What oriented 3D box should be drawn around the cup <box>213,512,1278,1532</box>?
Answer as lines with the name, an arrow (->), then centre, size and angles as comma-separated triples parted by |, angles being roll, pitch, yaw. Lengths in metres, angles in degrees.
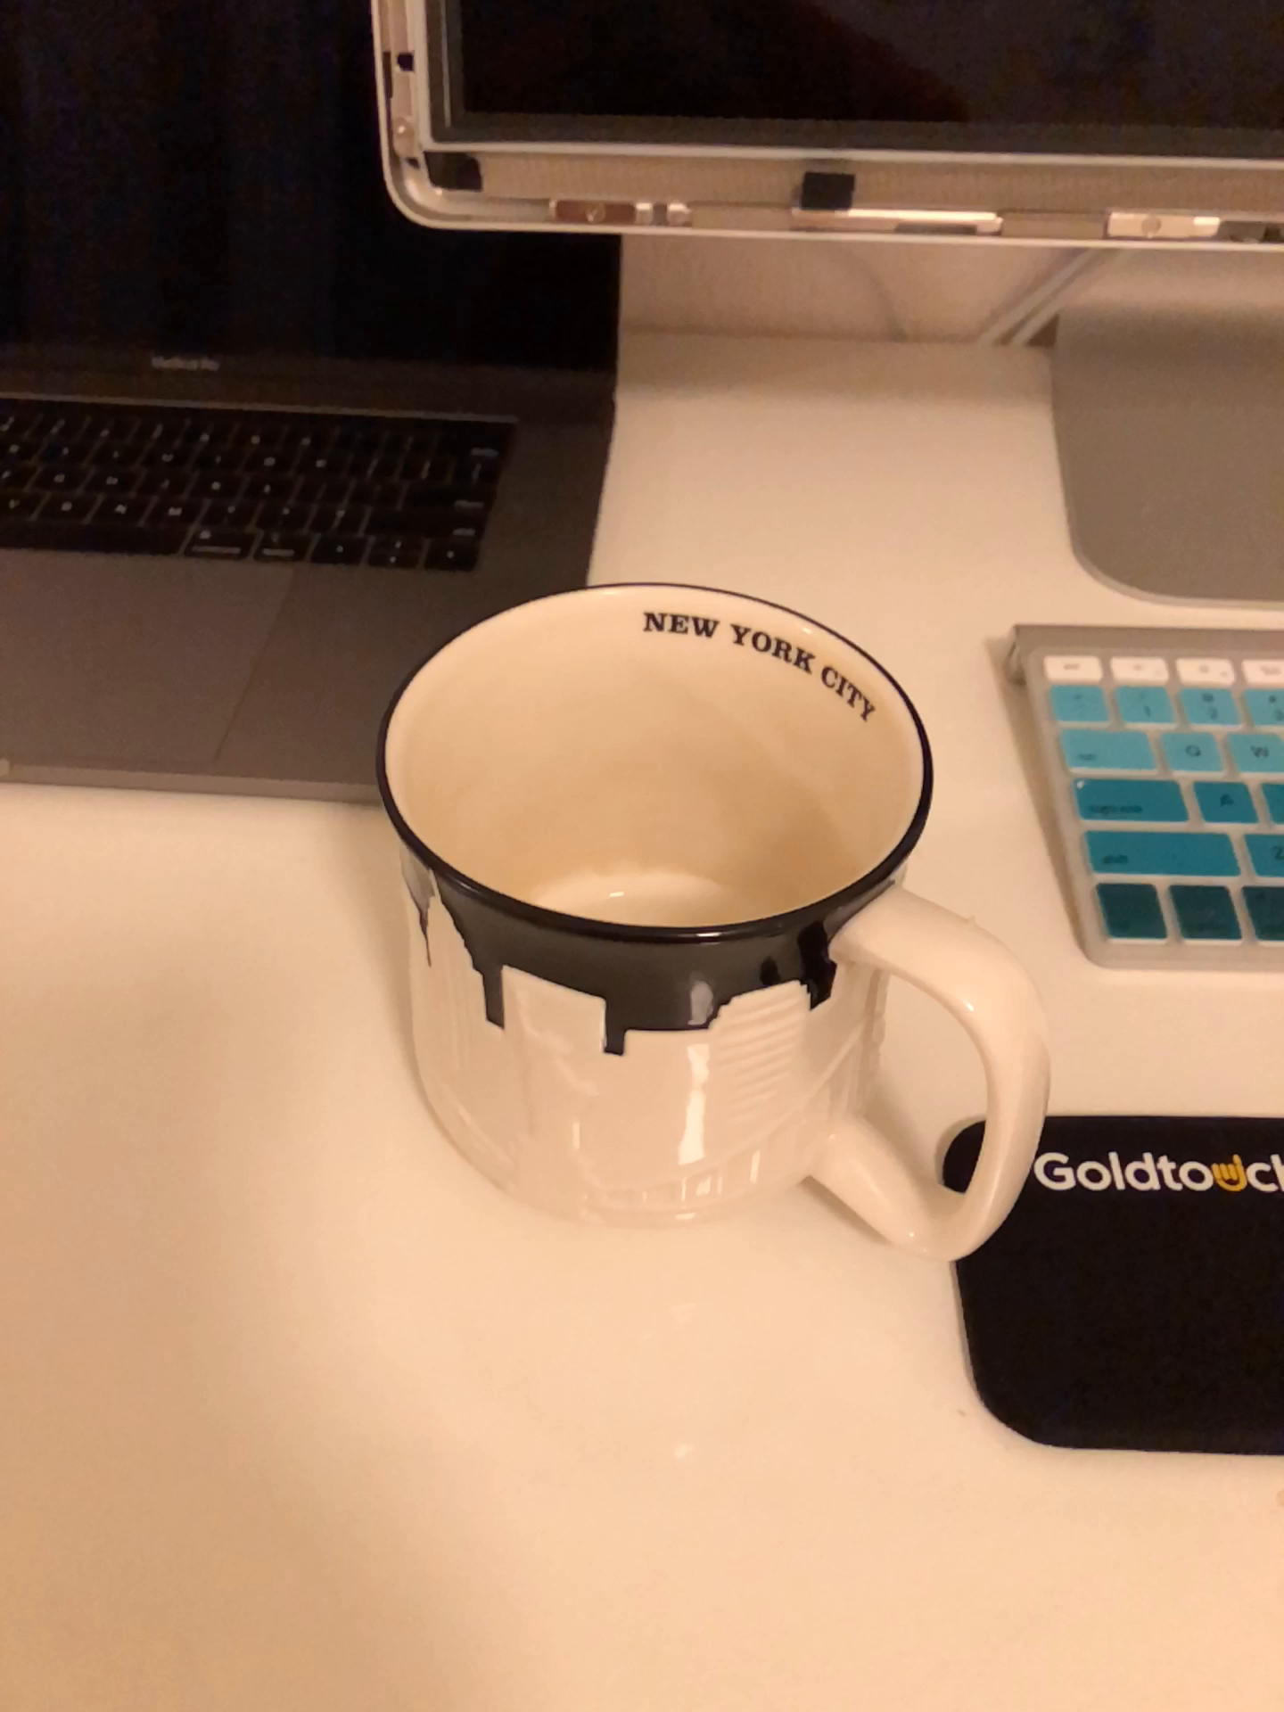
cup -> 0.015, 0.021, 0.280 | 0.150, 0.089, 0.110 | 33, 52, 28
